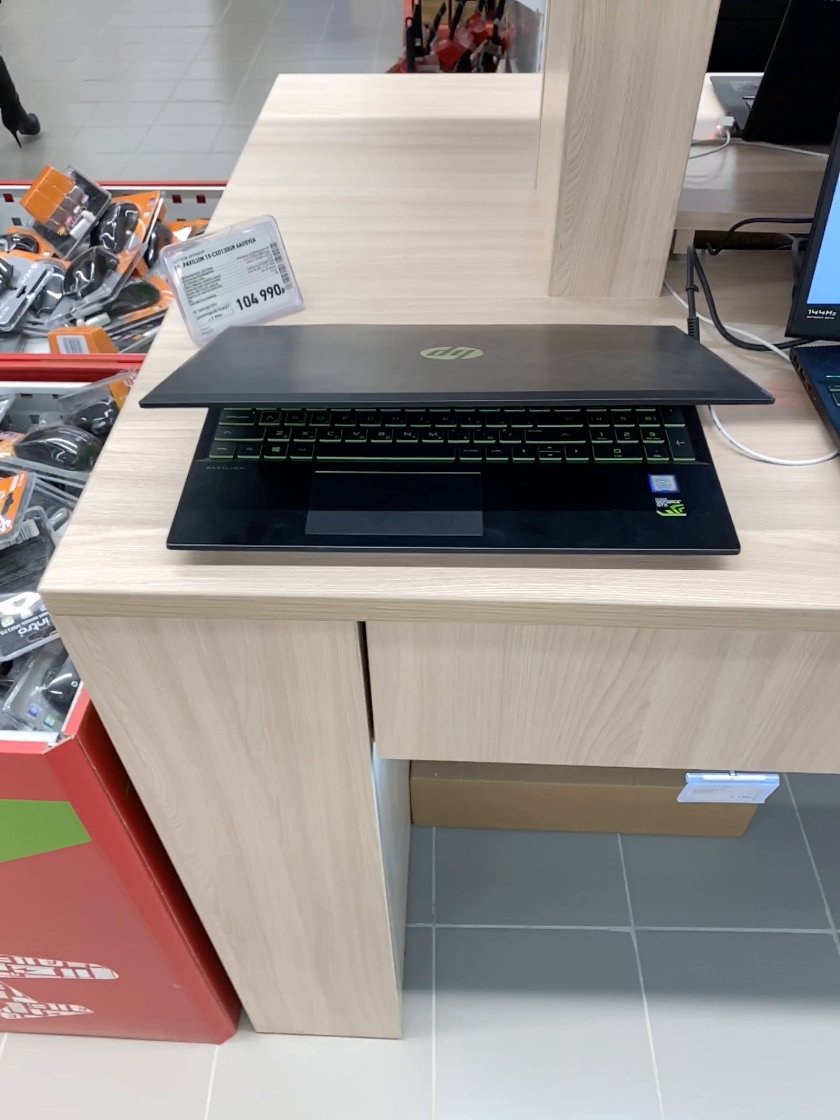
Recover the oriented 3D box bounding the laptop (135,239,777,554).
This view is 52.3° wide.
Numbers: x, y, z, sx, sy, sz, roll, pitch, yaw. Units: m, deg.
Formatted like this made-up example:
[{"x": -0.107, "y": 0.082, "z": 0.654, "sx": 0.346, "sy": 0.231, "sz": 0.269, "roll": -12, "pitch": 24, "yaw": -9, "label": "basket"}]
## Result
[{"x": 0.022, "y": -0.126, "z": 0.601, "sx": 0.365, "sy": 0.086, "sz": 0.242, "roll": 1, "pitch": 46, "yaw": 2, "label": "laptop"}]
